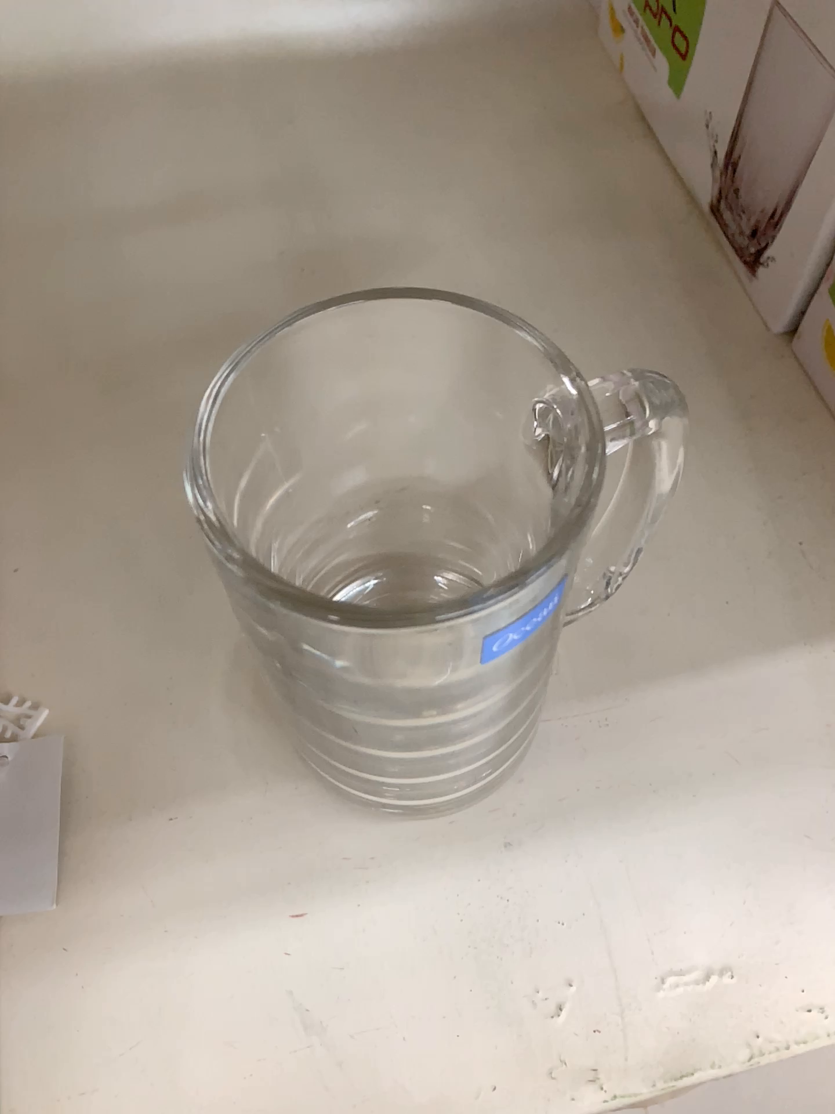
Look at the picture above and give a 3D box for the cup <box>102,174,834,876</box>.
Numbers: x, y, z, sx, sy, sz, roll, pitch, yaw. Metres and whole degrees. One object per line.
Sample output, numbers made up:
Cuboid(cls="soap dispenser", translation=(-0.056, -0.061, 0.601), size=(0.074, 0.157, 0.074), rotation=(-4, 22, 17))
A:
Cuboid(cls="cup", translation=(0.013, 0.004, 0.211), size=(0.120, 0.129, 0.080), rotation=(-20, 62, -9))
